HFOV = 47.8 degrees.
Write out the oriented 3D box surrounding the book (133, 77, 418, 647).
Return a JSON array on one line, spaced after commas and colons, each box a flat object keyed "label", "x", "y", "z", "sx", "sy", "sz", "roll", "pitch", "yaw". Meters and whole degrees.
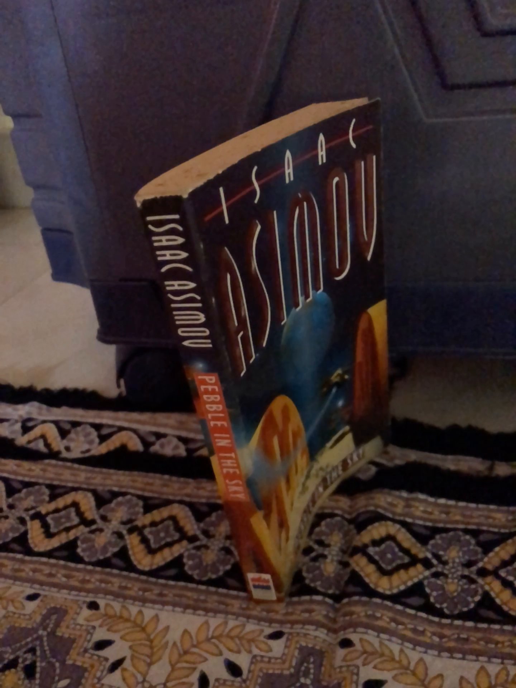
[{"label": "book", "x": 0.030, "y": 0.001, "z": 0.249, "sx": 0.030, "sy": 0.189, "sz": 0.151, "roll": 10, "pitch": 34, "yaw": 30}]
